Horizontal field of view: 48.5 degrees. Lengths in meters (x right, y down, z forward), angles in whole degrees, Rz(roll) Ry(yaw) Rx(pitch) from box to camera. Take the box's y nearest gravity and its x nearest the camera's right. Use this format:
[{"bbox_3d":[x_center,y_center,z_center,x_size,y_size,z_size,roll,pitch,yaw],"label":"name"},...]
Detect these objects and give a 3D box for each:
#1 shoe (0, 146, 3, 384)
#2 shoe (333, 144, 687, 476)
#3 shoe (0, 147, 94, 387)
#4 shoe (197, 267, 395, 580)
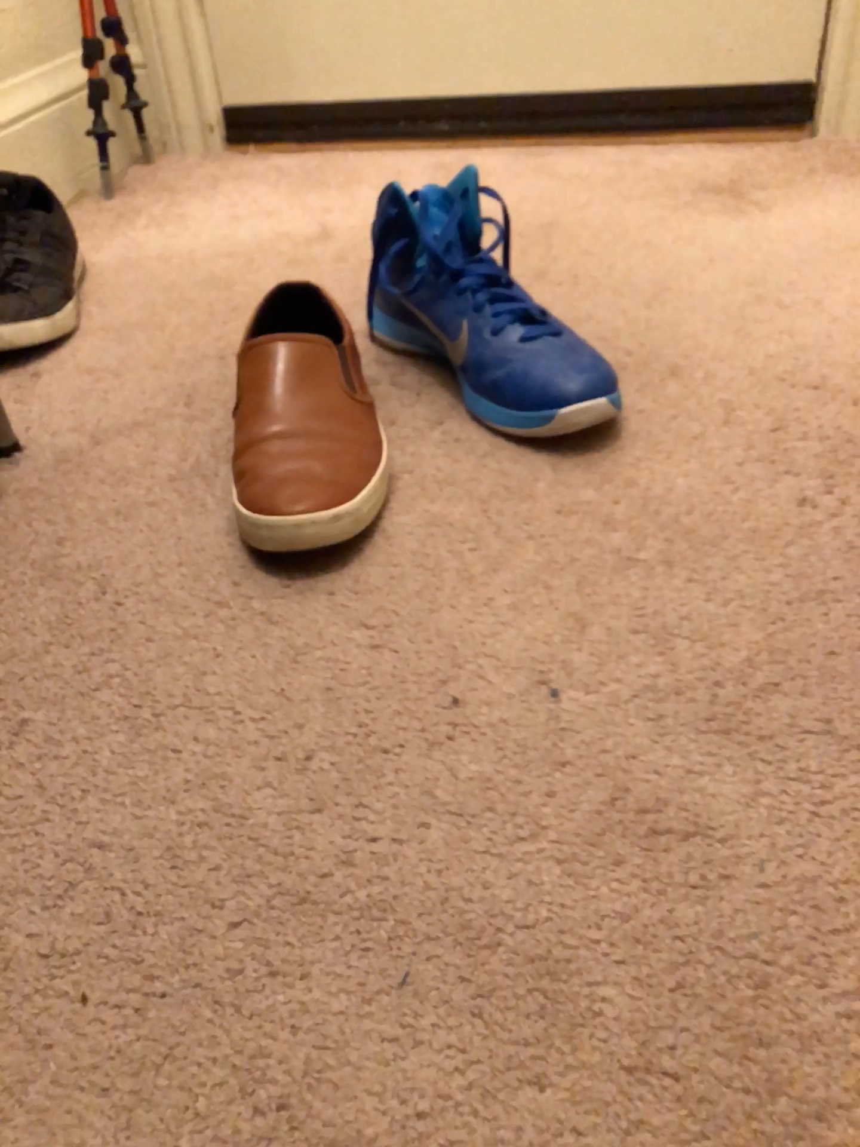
[{"bbox_3d":[-0.504,-0.305,0.910,0.115,0.112,0.294,-11,38,-8],"label":"shoe"},{"bbox_3d":[0.048,-0.219,0.742,0.115,0.142,0.293,-22,41,-21],"label":"shoe"},{"bbox_3d":[-0.400,-0.301,0.903,0.115,0.112,0.294,-11,38,-8],"label":"shoe"},{"bbox_3d":[-0.086,-0.120,0.673,0.105,0.083,0.284,-5,38,-1],"label":"shoe"}]
